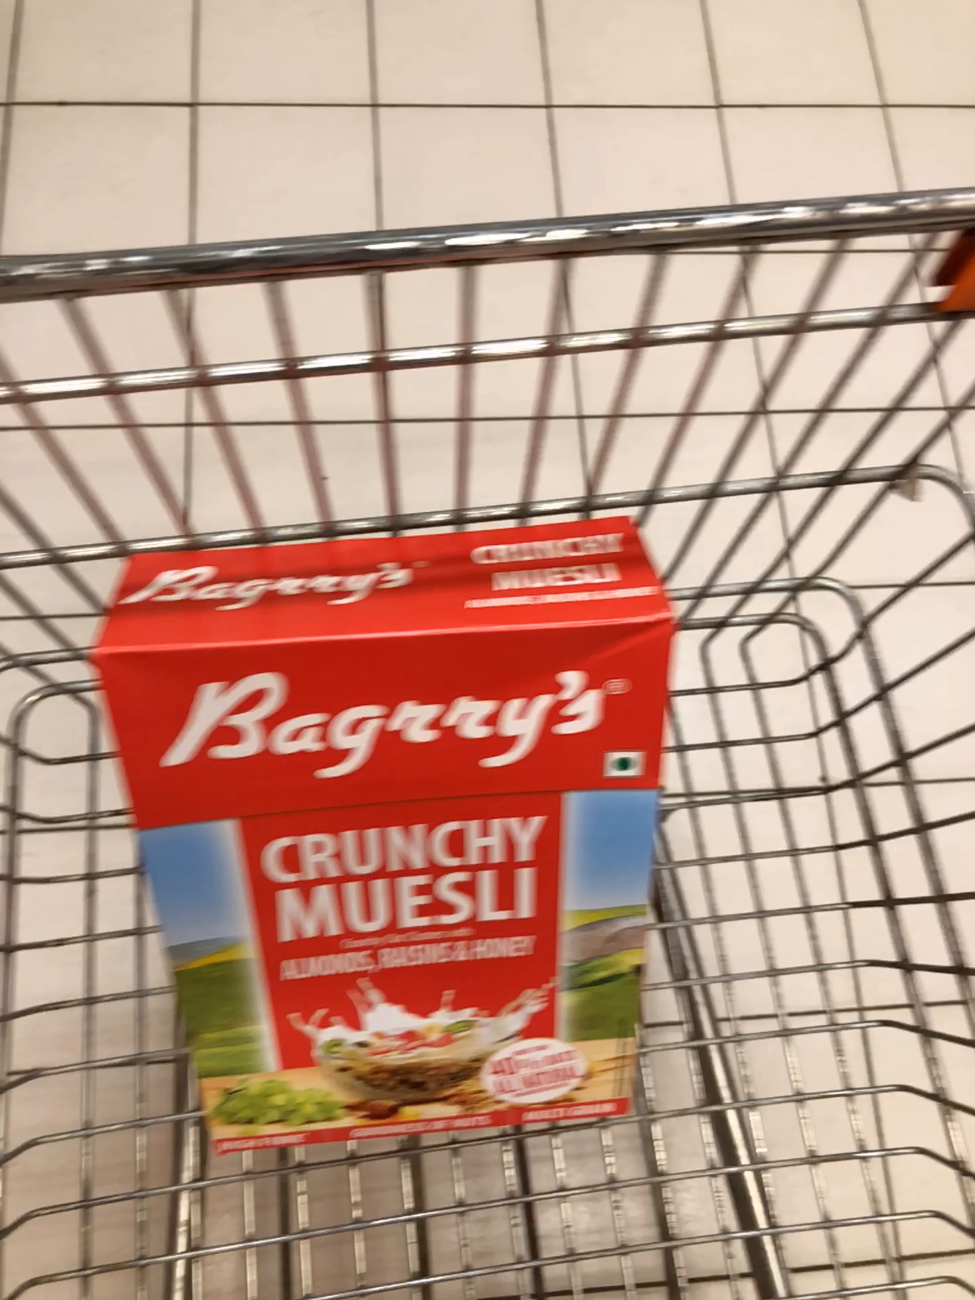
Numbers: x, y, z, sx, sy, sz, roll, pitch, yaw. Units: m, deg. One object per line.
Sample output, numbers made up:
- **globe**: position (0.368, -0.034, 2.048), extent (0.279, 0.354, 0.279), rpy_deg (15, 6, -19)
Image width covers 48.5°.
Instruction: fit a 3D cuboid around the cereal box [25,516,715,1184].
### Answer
- **cereal box**: position (-0.033, 0.092, 0.407), extent (0.190, 0.279, 0.060), rpy_deg (-4, 38, -5)
